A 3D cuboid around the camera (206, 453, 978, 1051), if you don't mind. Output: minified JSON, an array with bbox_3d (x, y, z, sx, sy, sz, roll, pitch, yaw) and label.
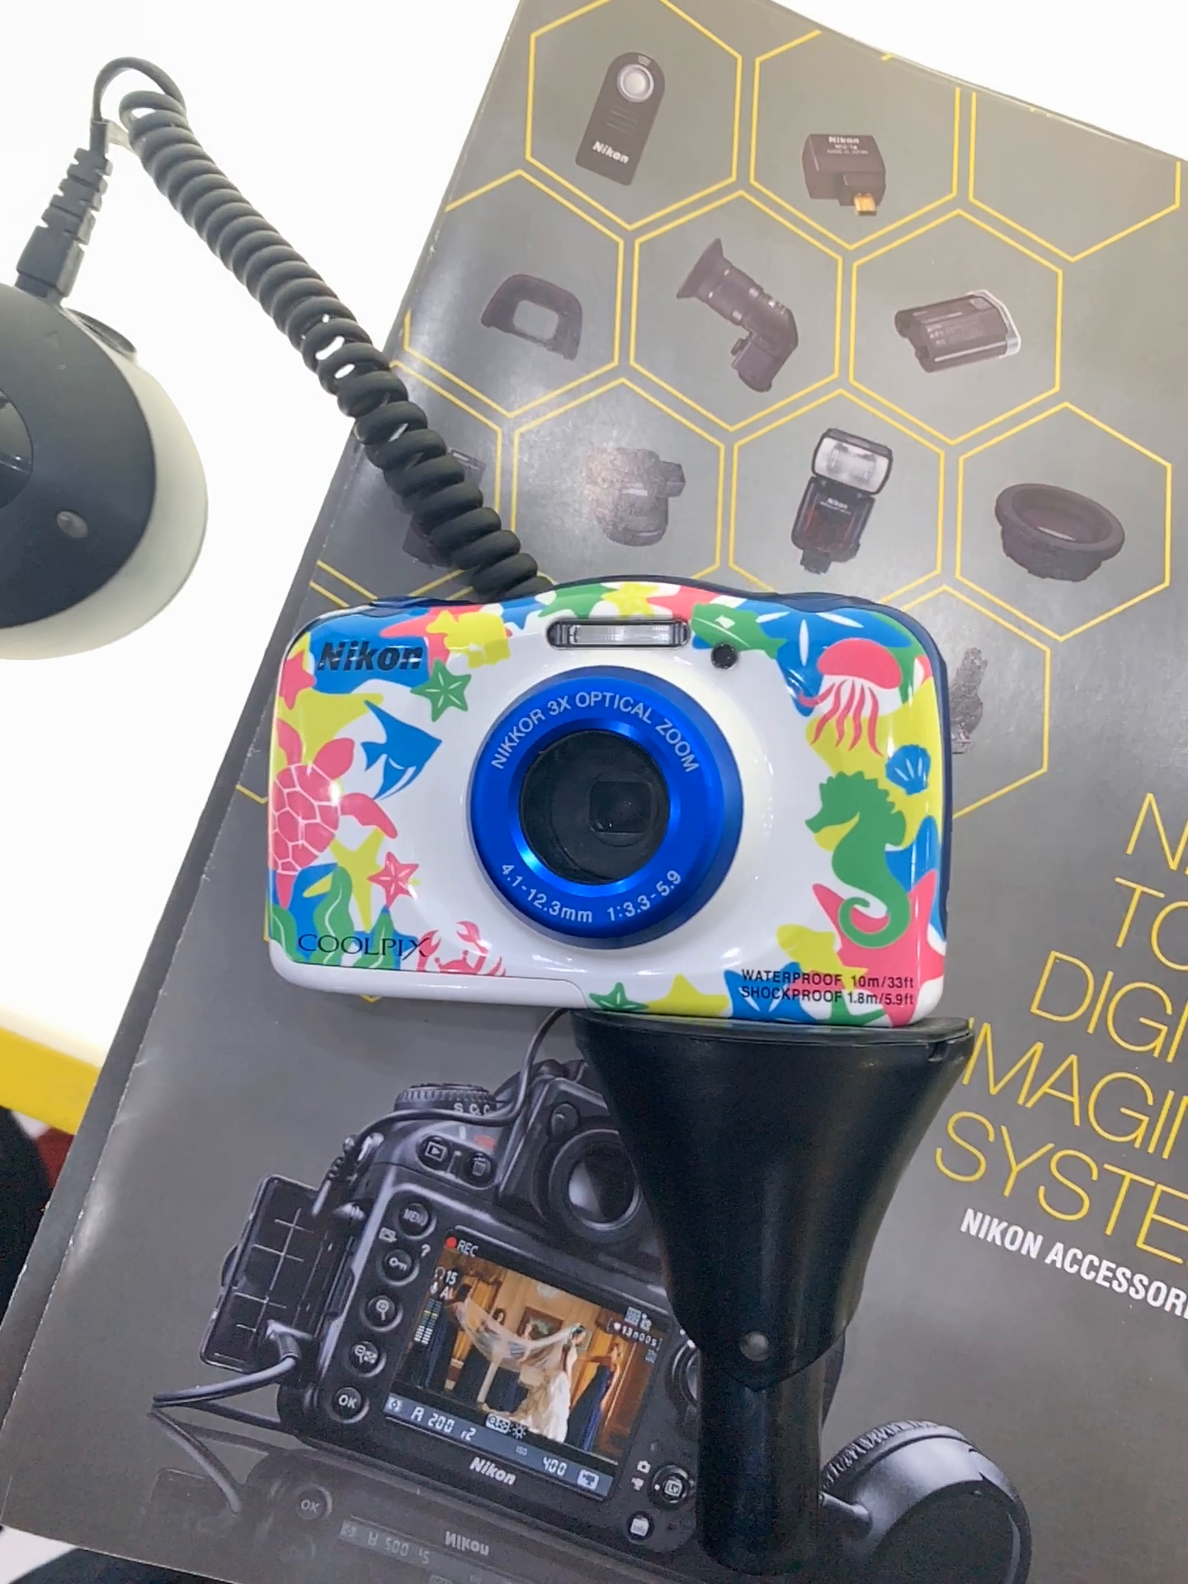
[{"bbox_3d":[0.000,-0.005,0.191,0.110,0.030,0.080,1,84,13],"label":"camera"}]
